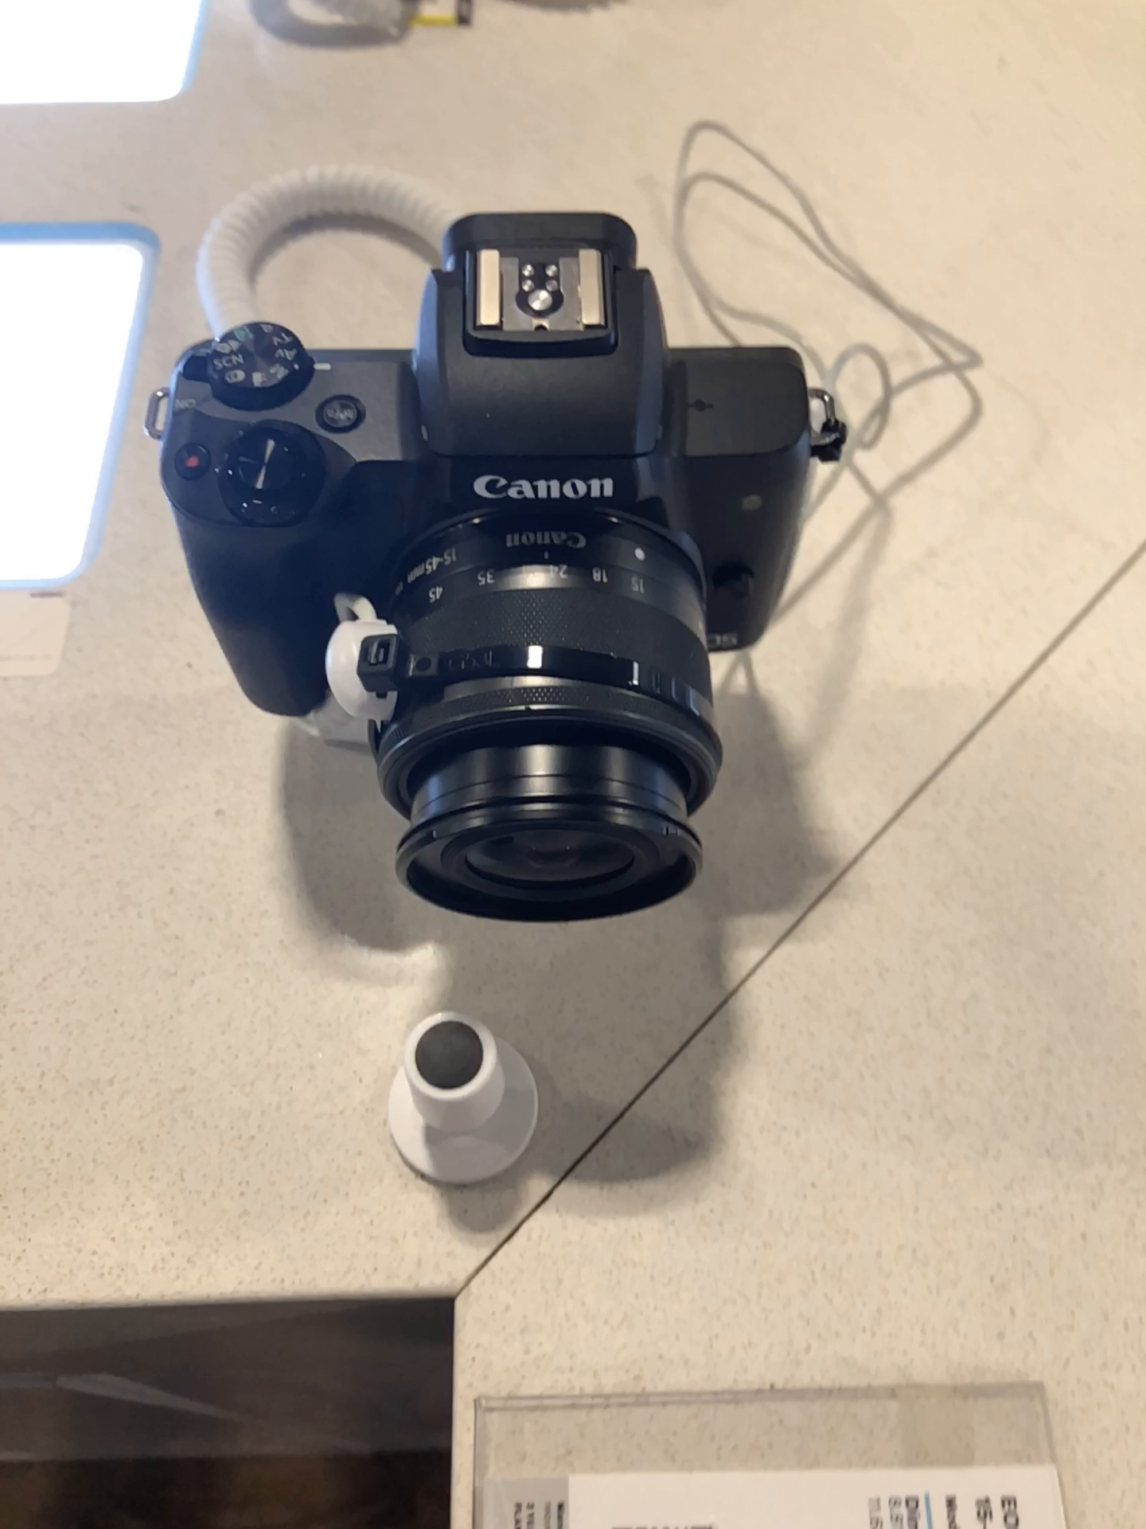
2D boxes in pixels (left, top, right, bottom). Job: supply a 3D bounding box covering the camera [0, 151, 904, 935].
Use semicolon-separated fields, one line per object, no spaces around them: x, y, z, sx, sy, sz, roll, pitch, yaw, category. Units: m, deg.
-0.021;-0.041;0.242;0.130;0.080;0.121;-2;60;-1;camera
